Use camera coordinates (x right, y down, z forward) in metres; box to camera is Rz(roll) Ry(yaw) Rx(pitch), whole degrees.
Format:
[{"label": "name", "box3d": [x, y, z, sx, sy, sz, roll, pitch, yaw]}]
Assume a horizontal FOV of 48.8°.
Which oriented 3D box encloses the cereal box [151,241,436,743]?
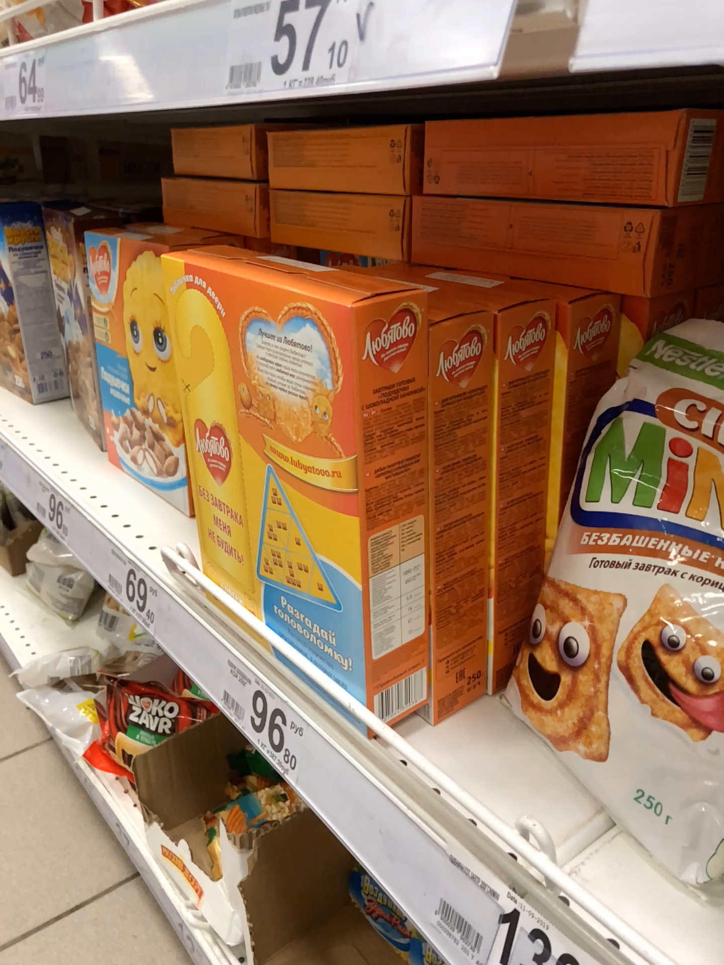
[{"label": "cereal box", "box3d": [-0.039, -0.005, 0.445, 0.050, 0.229, 0.181, -20, 30, -34]}]
